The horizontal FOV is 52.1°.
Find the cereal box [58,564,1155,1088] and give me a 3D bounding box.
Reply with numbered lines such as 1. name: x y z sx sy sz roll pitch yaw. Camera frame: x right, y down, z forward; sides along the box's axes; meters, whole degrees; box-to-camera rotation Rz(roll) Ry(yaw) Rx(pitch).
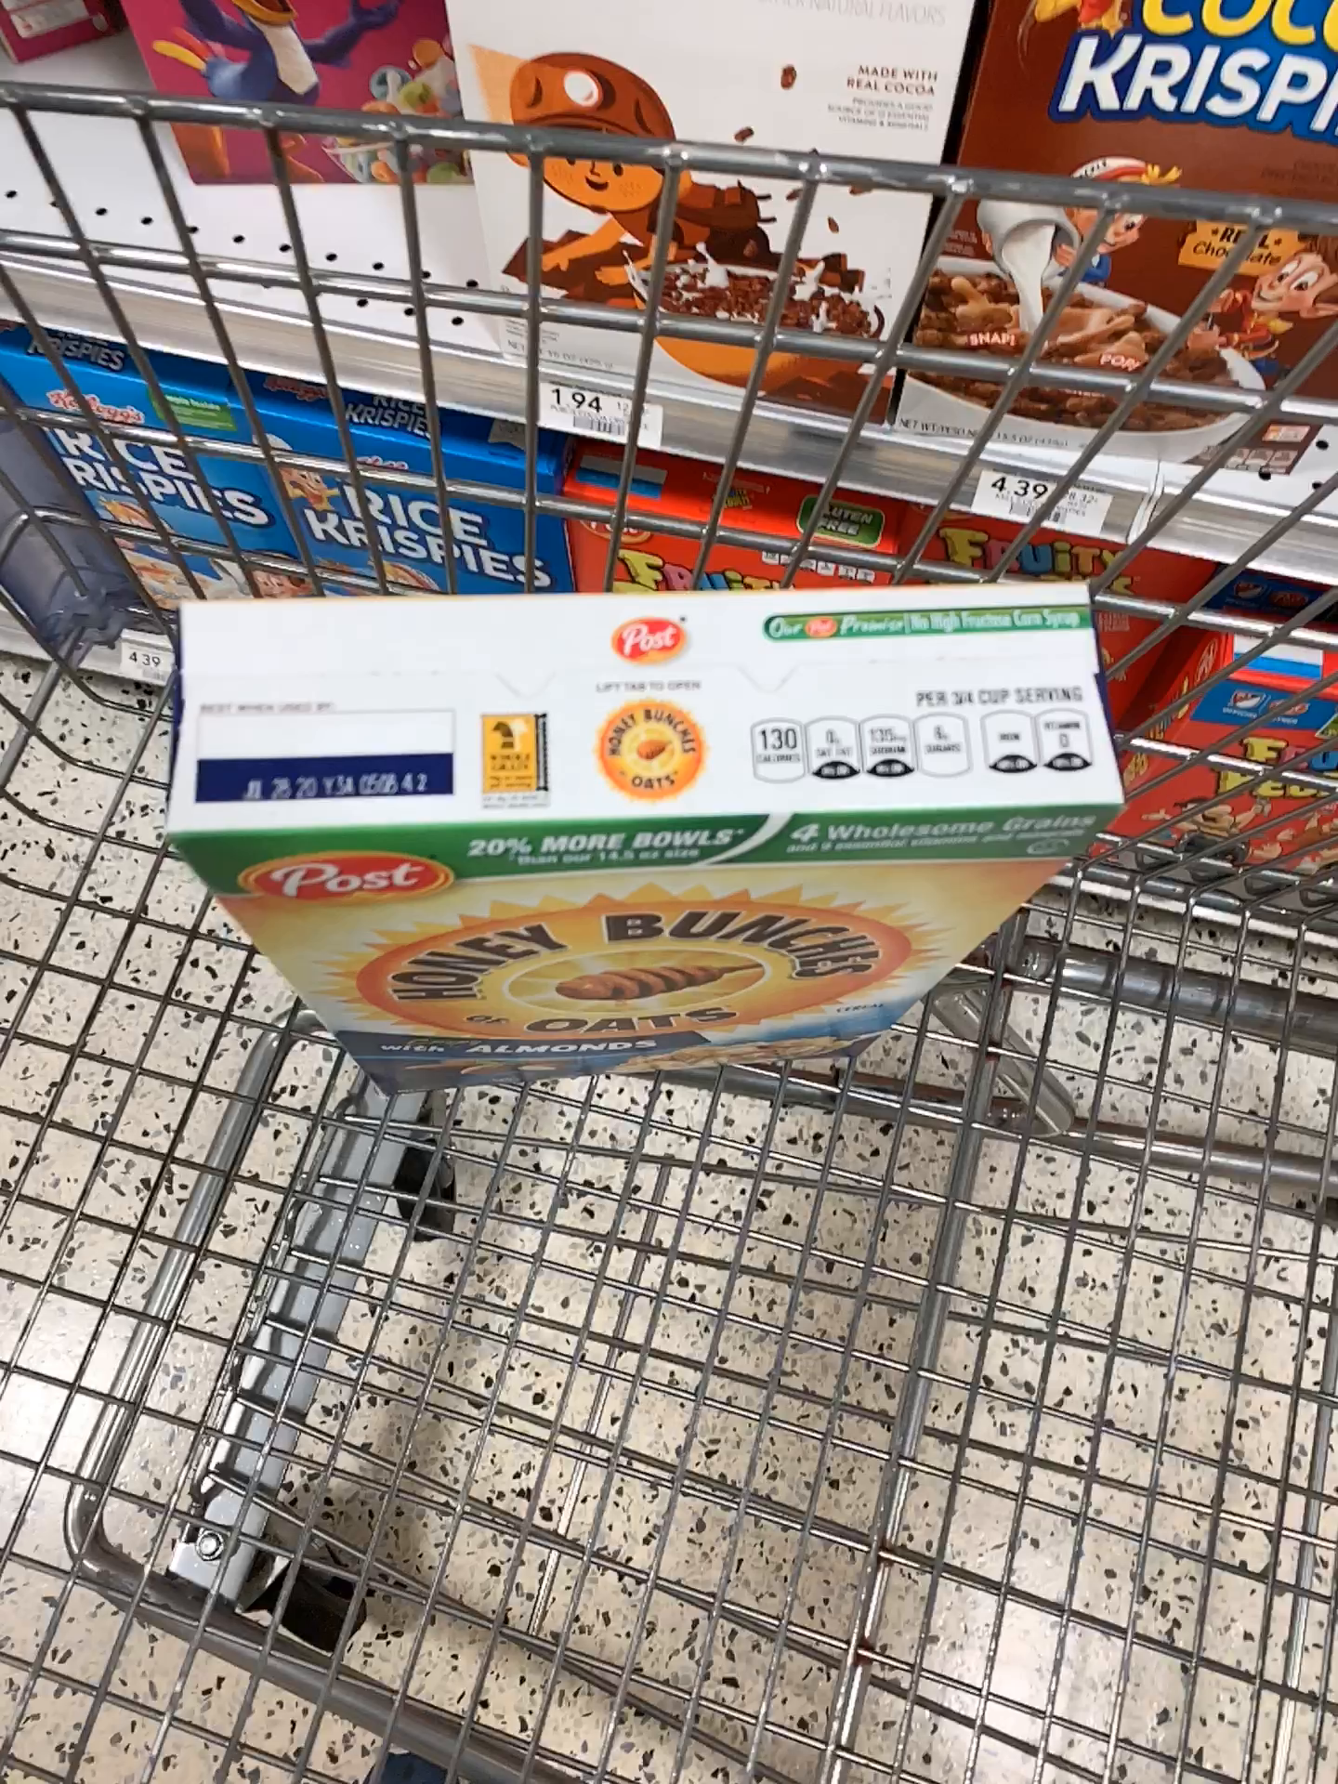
1. cereal box: -0.014 0.006 0.419 0.210 0.309 0.060 -1 74 -1
